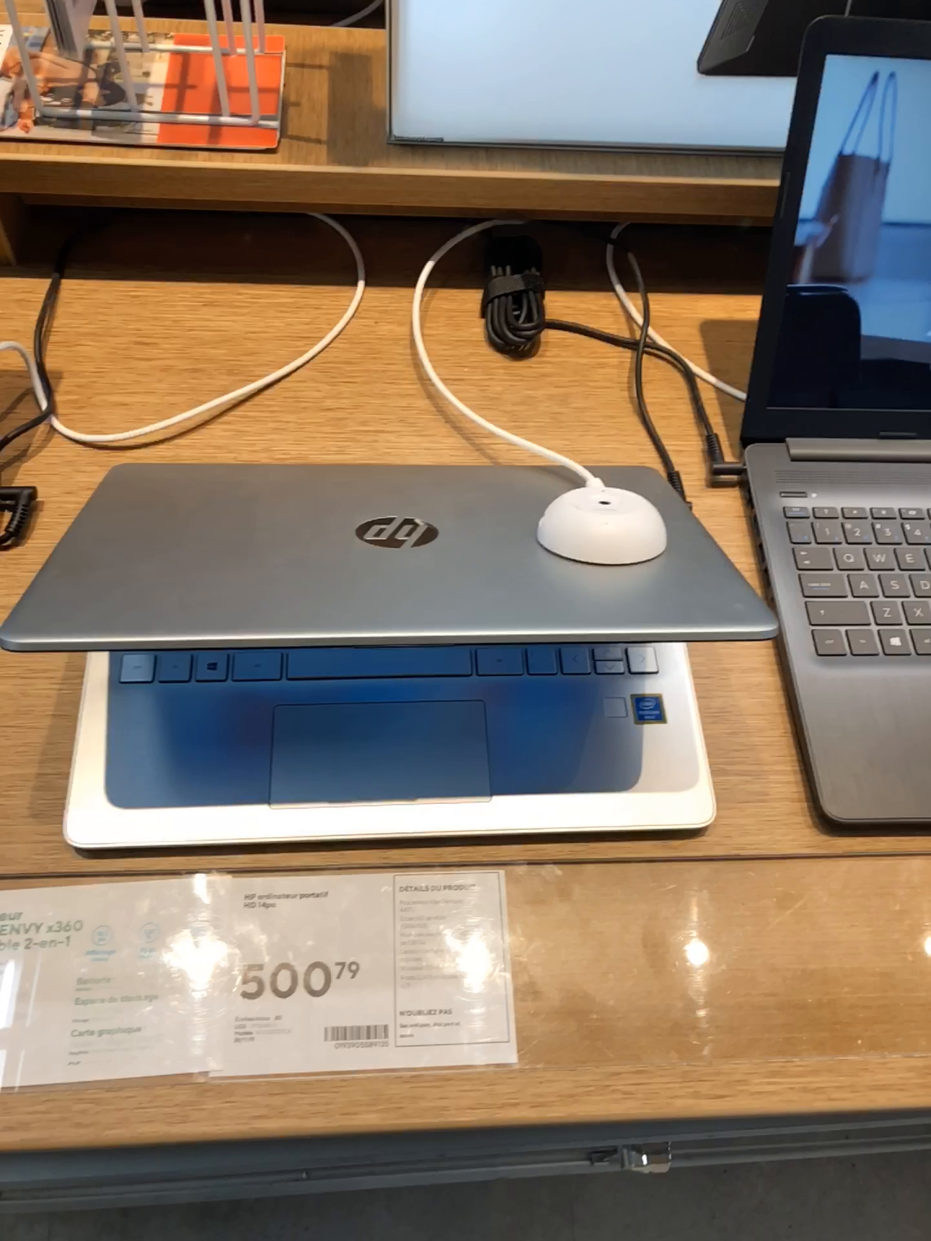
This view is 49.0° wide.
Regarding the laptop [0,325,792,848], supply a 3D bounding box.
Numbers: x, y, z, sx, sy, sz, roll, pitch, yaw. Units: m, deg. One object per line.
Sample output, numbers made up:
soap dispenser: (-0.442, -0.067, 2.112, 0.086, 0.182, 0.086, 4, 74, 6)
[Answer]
laptop: (-0.035, -0.019, 0.495, 0.314, 0.110, 0.217, -1, 62, -5)
